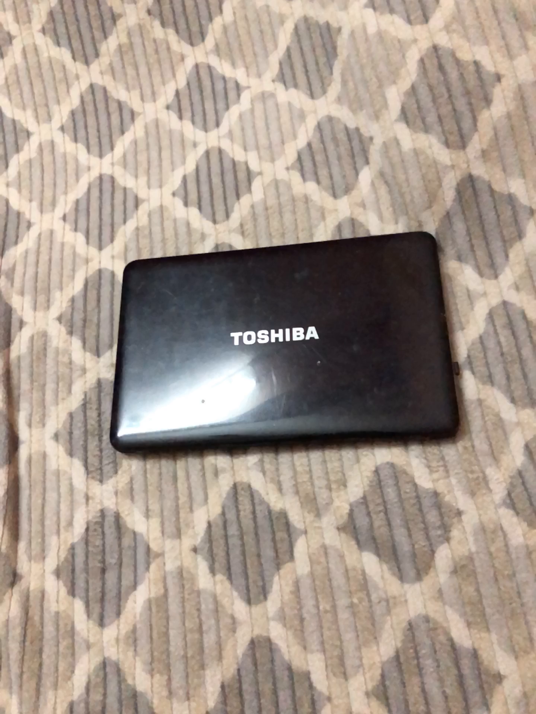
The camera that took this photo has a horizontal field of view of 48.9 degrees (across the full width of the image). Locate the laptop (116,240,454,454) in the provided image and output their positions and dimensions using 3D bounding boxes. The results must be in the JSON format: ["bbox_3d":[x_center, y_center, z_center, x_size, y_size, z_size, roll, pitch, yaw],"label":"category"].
[{"bbox_3d":[0.010,-0.014,0.709,0.375,0.023,0.249,-4,65,9],"label":"laptop"}]
